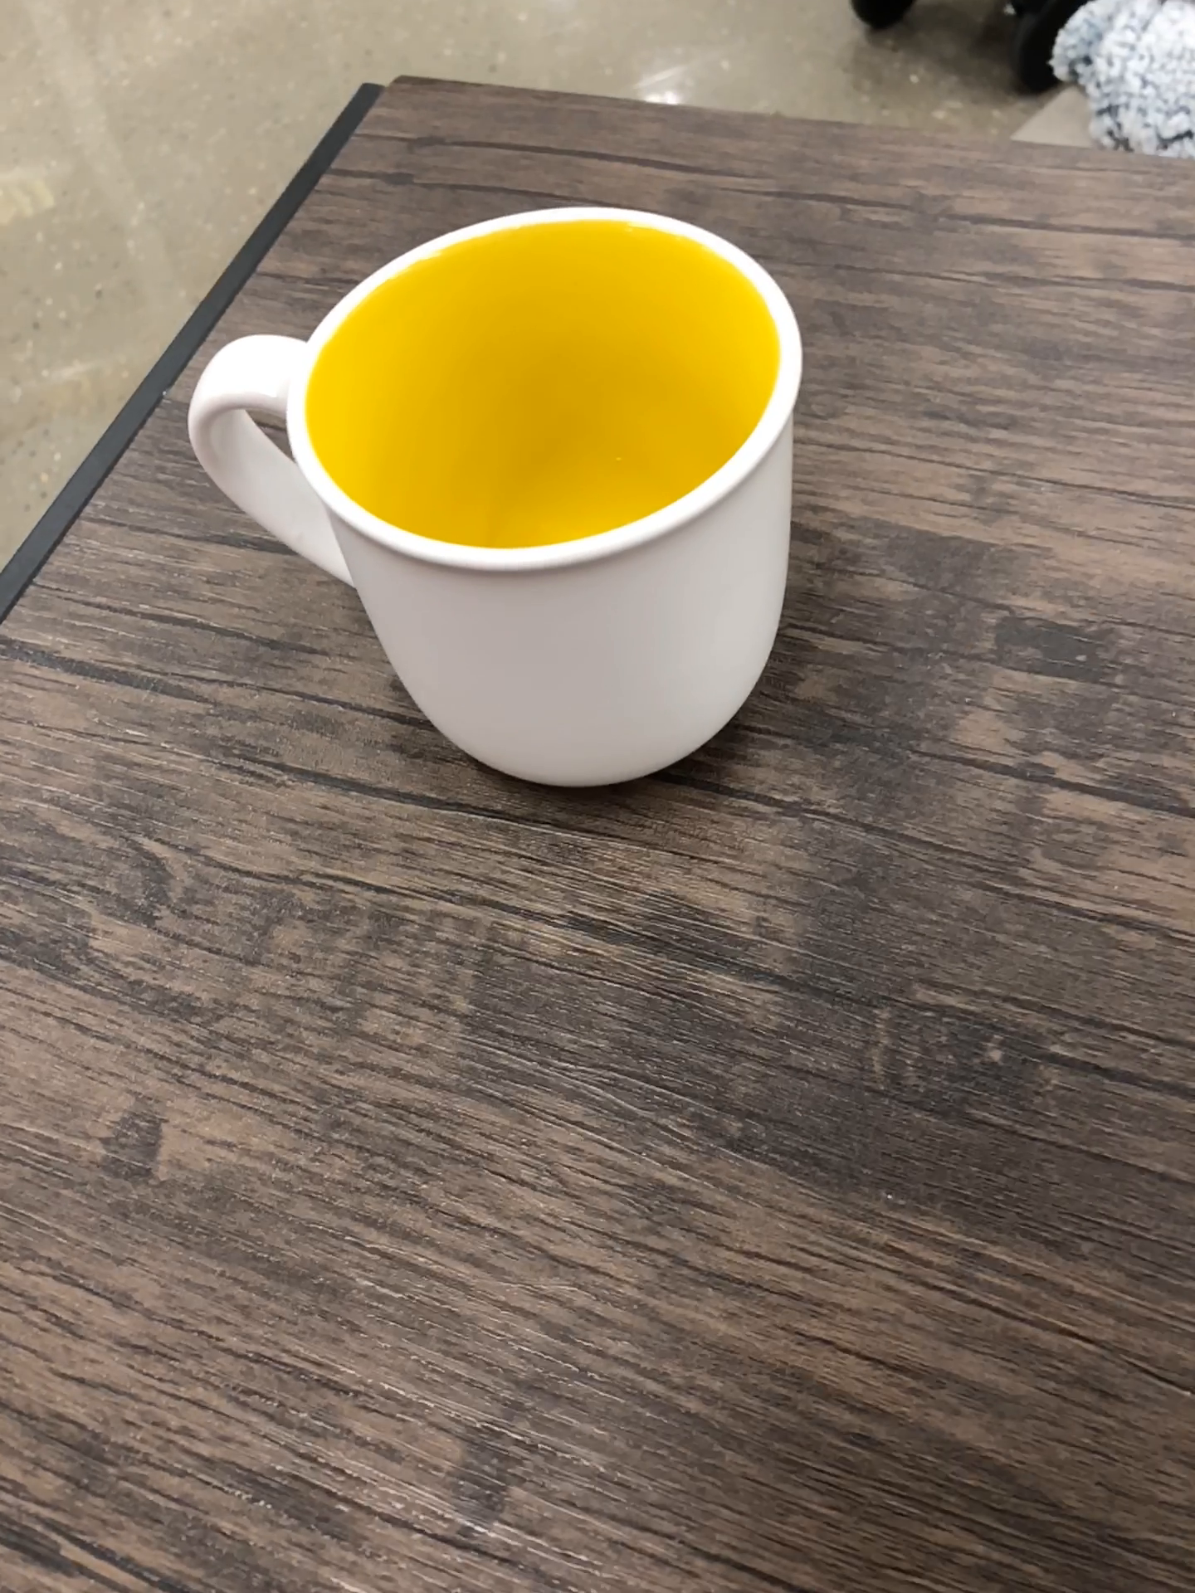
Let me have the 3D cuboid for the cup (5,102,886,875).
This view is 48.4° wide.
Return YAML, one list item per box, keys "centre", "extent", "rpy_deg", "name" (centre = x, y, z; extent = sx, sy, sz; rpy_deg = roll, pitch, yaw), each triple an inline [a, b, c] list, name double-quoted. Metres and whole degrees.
- centre: [-0.021, -0.061, 0.269]
  extent: [0.130, 0.100, 0.080]
  rpy_deg: [17, 61, 17]
  name: "cup"
